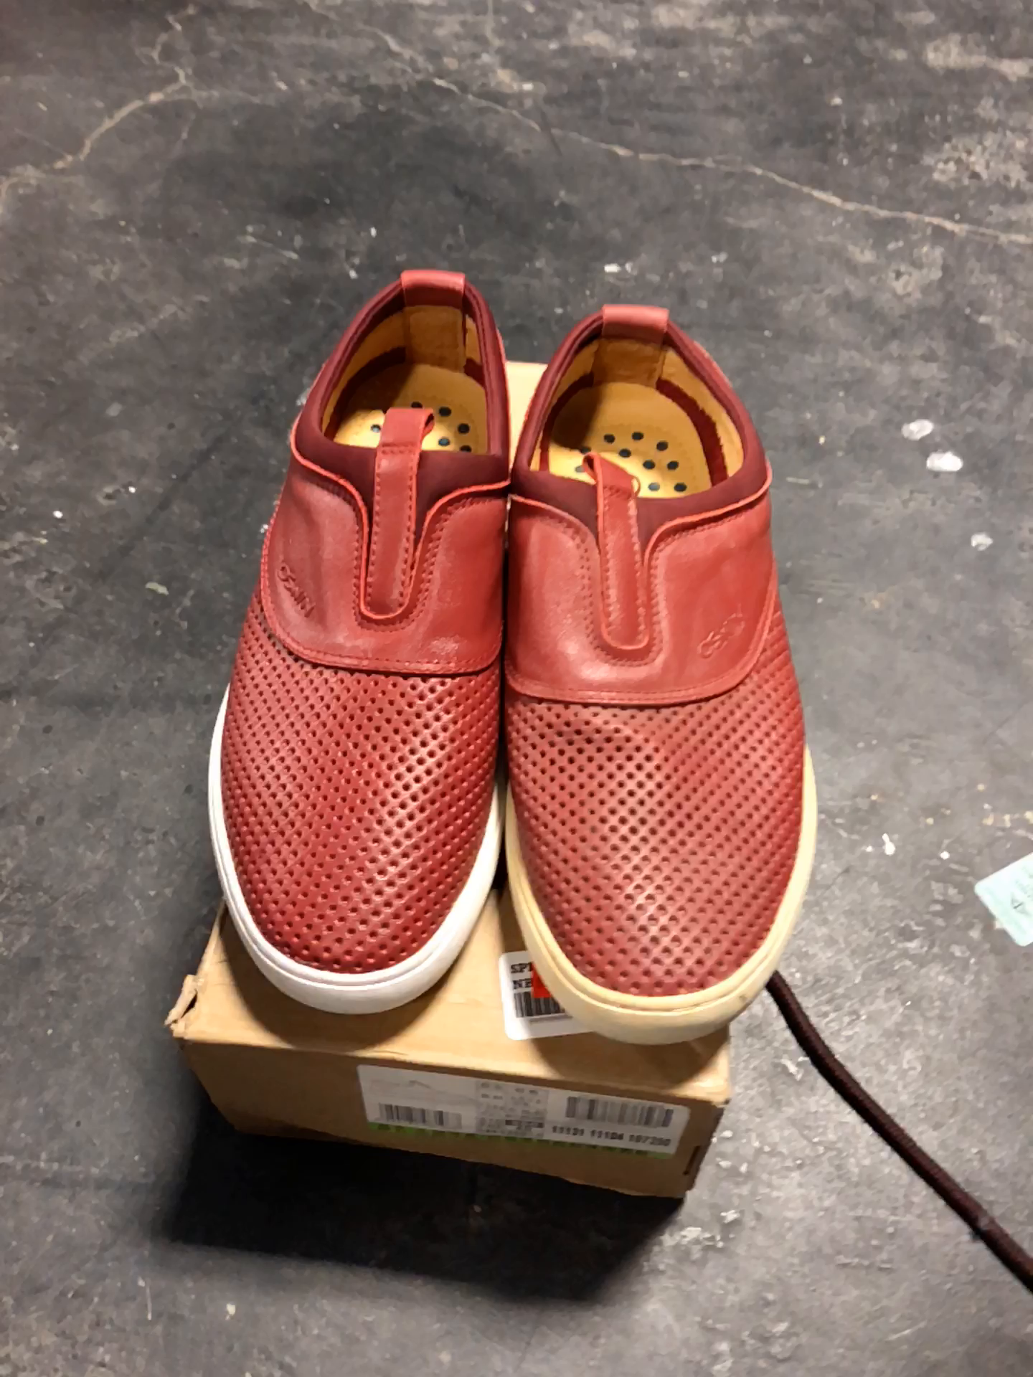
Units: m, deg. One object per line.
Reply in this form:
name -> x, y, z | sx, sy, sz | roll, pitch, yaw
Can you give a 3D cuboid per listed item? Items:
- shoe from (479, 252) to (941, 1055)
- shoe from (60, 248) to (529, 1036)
shoe -> 0.043, -0.019, 0.360 | 0.100, 0.109, 0.232 | 2, 54, -1
shoe -> -0.050, -0.023, 0.366 | 0.100, 0.109, 0.232 | 2, 54, -1
